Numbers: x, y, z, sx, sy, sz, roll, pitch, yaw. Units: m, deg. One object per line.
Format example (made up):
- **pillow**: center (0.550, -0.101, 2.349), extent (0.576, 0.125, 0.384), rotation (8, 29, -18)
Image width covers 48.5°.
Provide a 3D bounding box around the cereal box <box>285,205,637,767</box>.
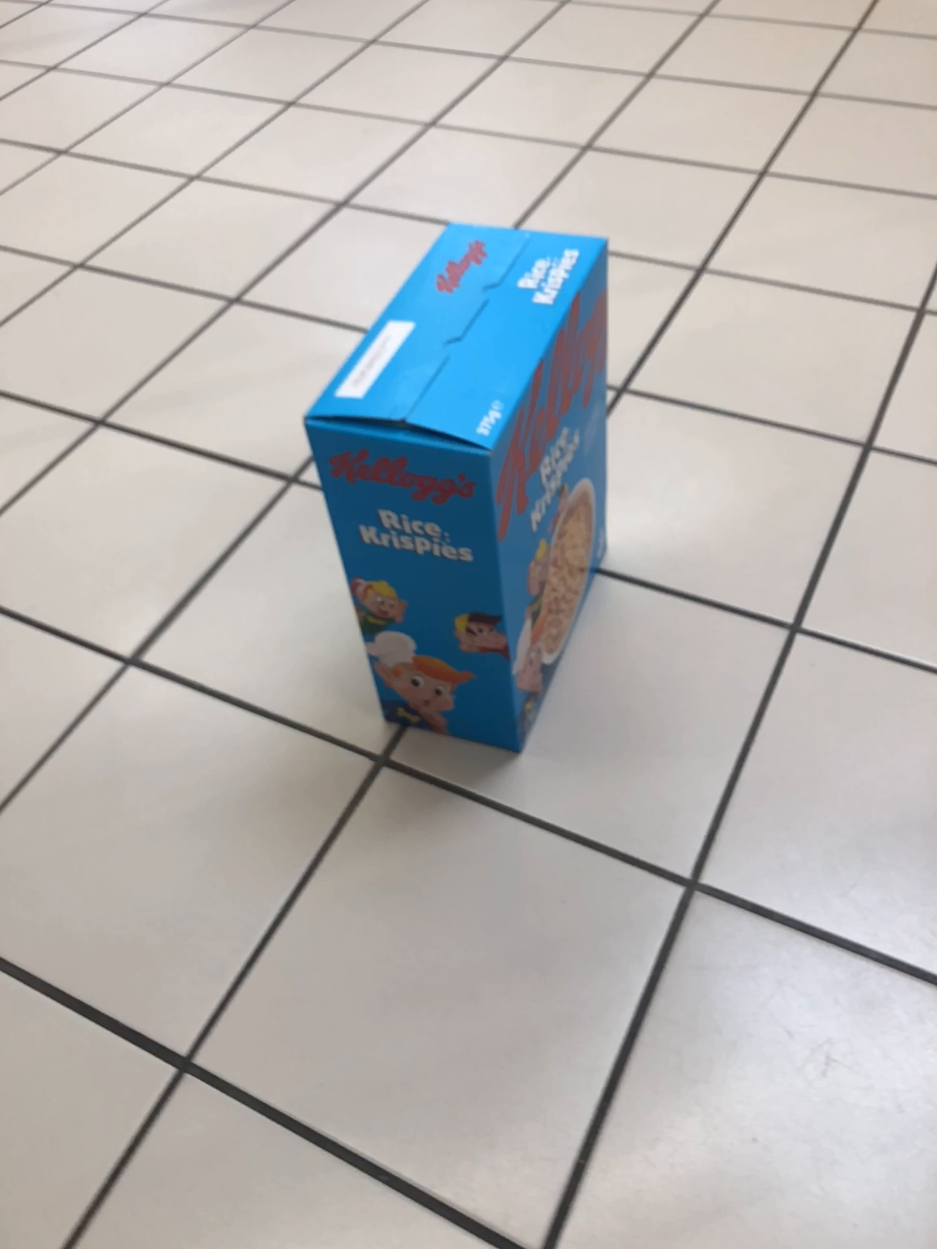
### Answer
- **cereal box**: center (0.013, -0.078, 0.611), extent (0.110, 0.239, 0.201), rotation (14, 51, 18)
